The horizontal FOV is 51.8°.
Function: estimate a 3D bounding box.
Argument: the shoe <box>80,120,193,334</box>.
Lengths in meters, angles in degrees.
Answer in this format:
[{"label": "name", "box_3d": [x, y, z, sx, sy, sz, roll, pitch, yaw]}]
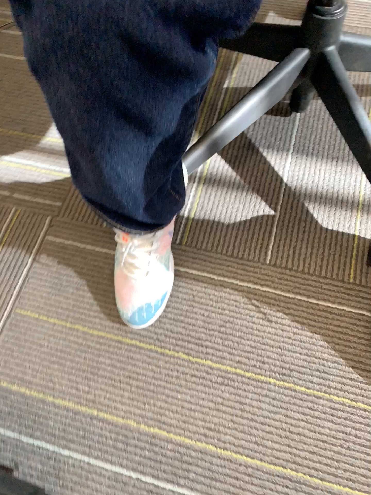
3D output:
[{"label": "shoe", "box_3d": [-0.063, -0.030, 0.592, 0.106, 0.109, 0.303, 6, 75, 7]}]

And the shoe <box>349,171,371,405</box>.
[{"label": "shoe", "box_3d": [0.332, 0.055, 0.564, 0.113, 0.109, 0.310, 0, 78, 4]}]
